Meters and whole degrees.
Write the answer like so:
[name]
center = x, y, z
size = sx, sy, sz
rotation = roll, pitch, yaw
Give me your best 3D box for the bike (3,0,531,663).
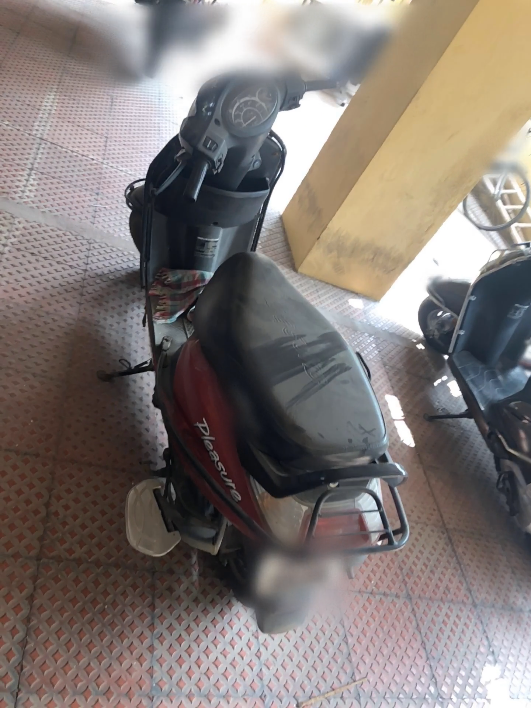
[bike]
center = -0.213, -0.239, 1.622
size = 0.601, 1.030, 1.653
rotation = 4, 45, -36
